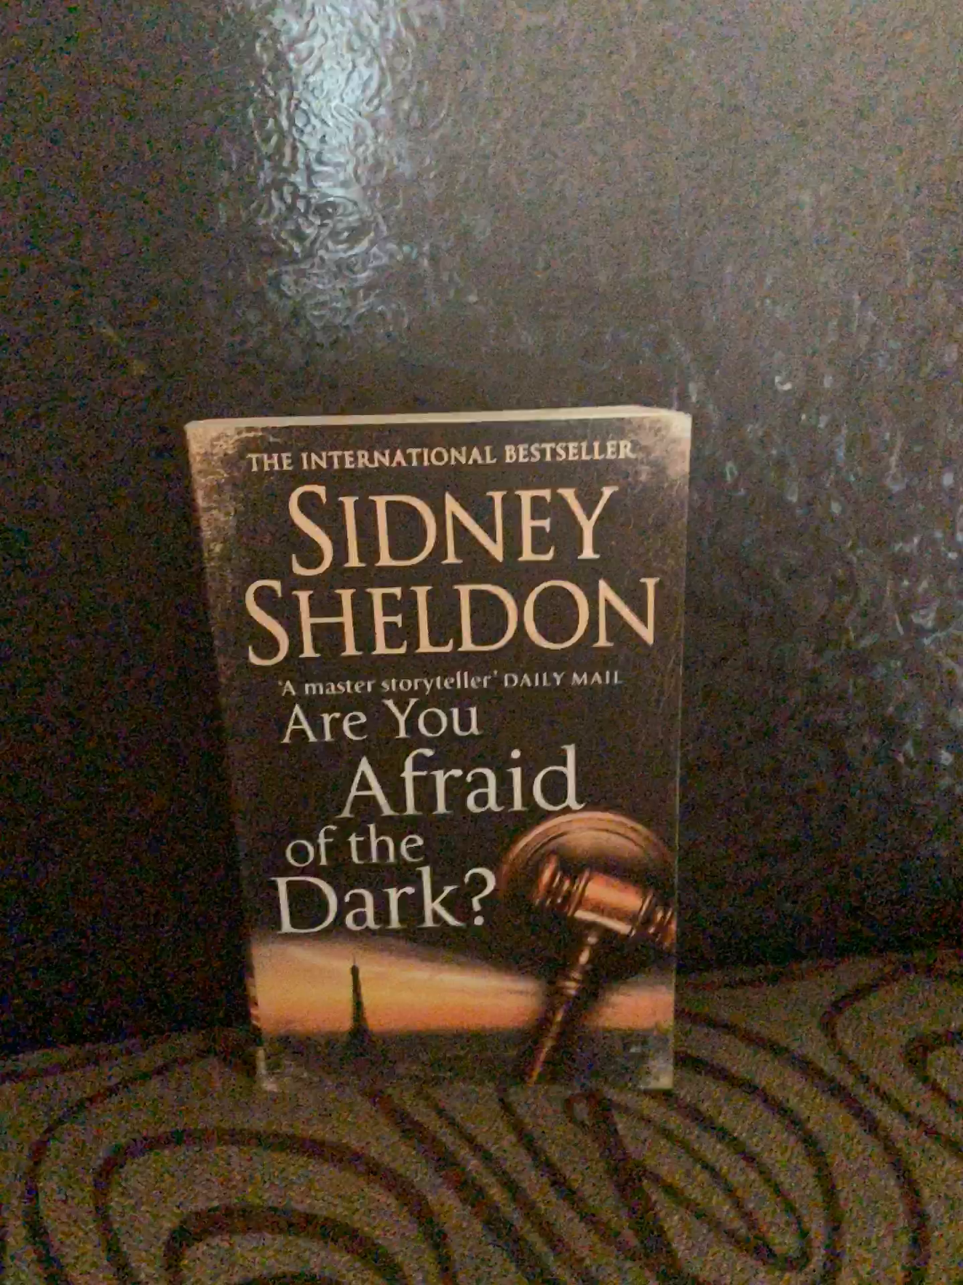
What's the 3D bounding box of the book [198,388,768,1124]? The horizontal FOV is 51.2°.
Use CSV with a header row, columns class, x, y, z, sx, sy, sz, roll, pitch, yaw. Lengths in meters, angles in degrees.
class,x,y,z,sx,sy,sz,roll,pitch,yaw
book,-0.002,0.030,0.254,0.120,0.179,0.040,0,15,-3
